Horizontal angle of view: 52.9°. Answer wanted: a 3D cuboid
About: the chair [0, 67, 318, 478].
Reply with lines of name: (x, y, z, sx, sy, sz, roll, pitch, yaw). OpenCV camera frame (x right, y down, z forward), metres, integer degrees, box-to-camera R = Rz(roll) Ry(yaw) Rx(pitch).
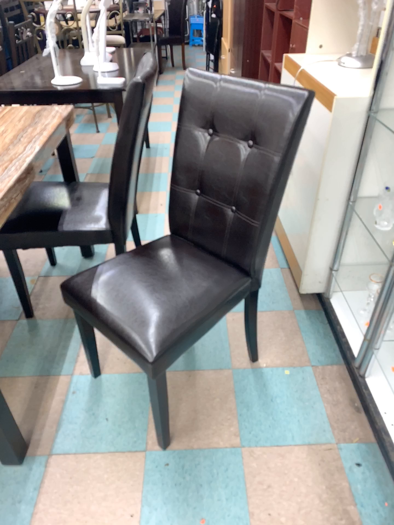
chair: (-0.073, 0.014, 1.155, 0.574, 0.939, 0.470, -31, 44, -33)
